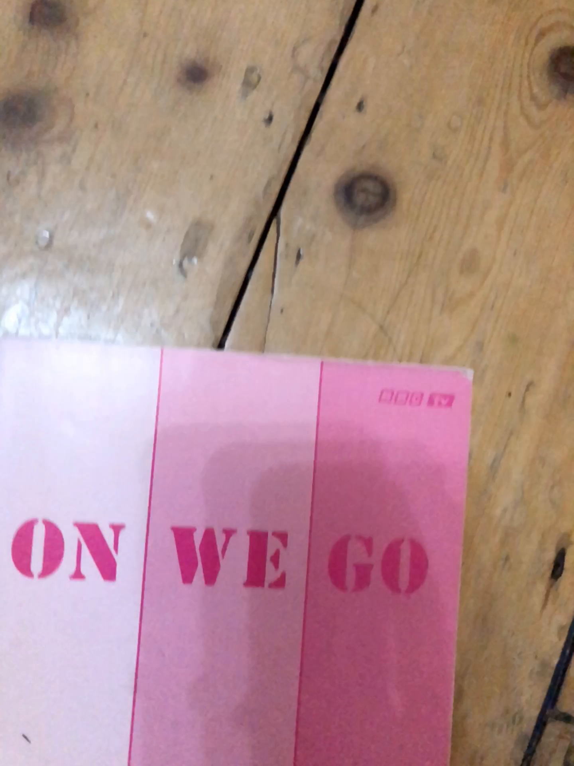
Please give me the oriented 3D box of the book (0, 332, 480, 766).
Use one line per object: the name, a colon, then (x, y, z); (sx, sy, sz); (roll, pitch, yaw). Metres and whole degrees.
book: (-0.024, 0.100, 0.209); (0.160, 0.020, 0.220); (4, 88, -6)
